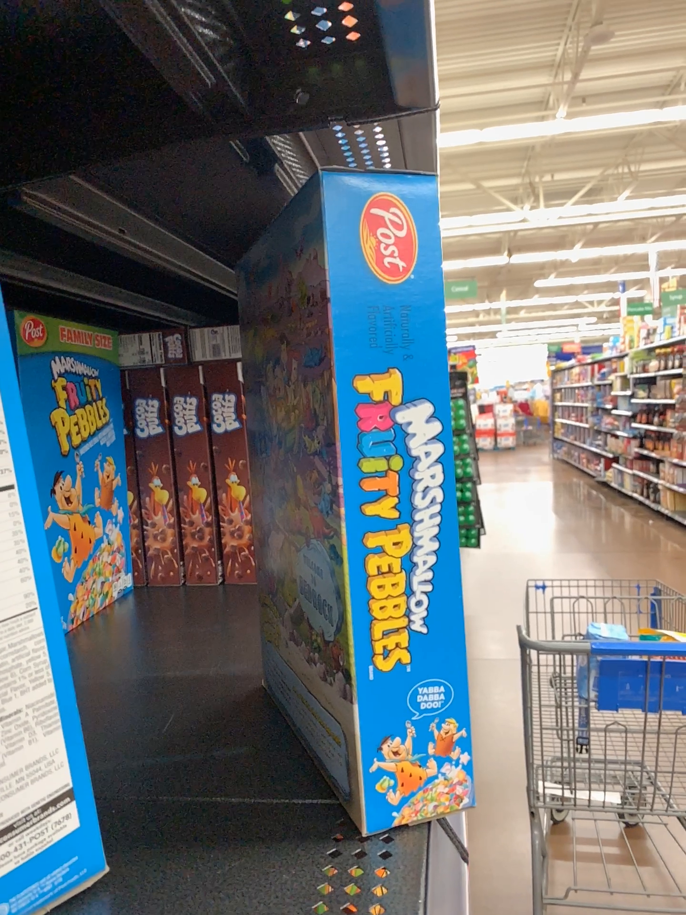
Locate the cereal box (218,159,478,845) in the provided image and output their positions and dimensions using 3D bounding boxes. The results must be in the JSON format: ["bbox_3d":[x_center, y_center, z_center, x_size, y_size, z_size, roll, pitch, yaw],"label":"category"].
[{"bbox_3d":[-0.013,0.018,0.457,0.070,0.330,0.230,-4,3,-21],"label":"cereal box"}]
